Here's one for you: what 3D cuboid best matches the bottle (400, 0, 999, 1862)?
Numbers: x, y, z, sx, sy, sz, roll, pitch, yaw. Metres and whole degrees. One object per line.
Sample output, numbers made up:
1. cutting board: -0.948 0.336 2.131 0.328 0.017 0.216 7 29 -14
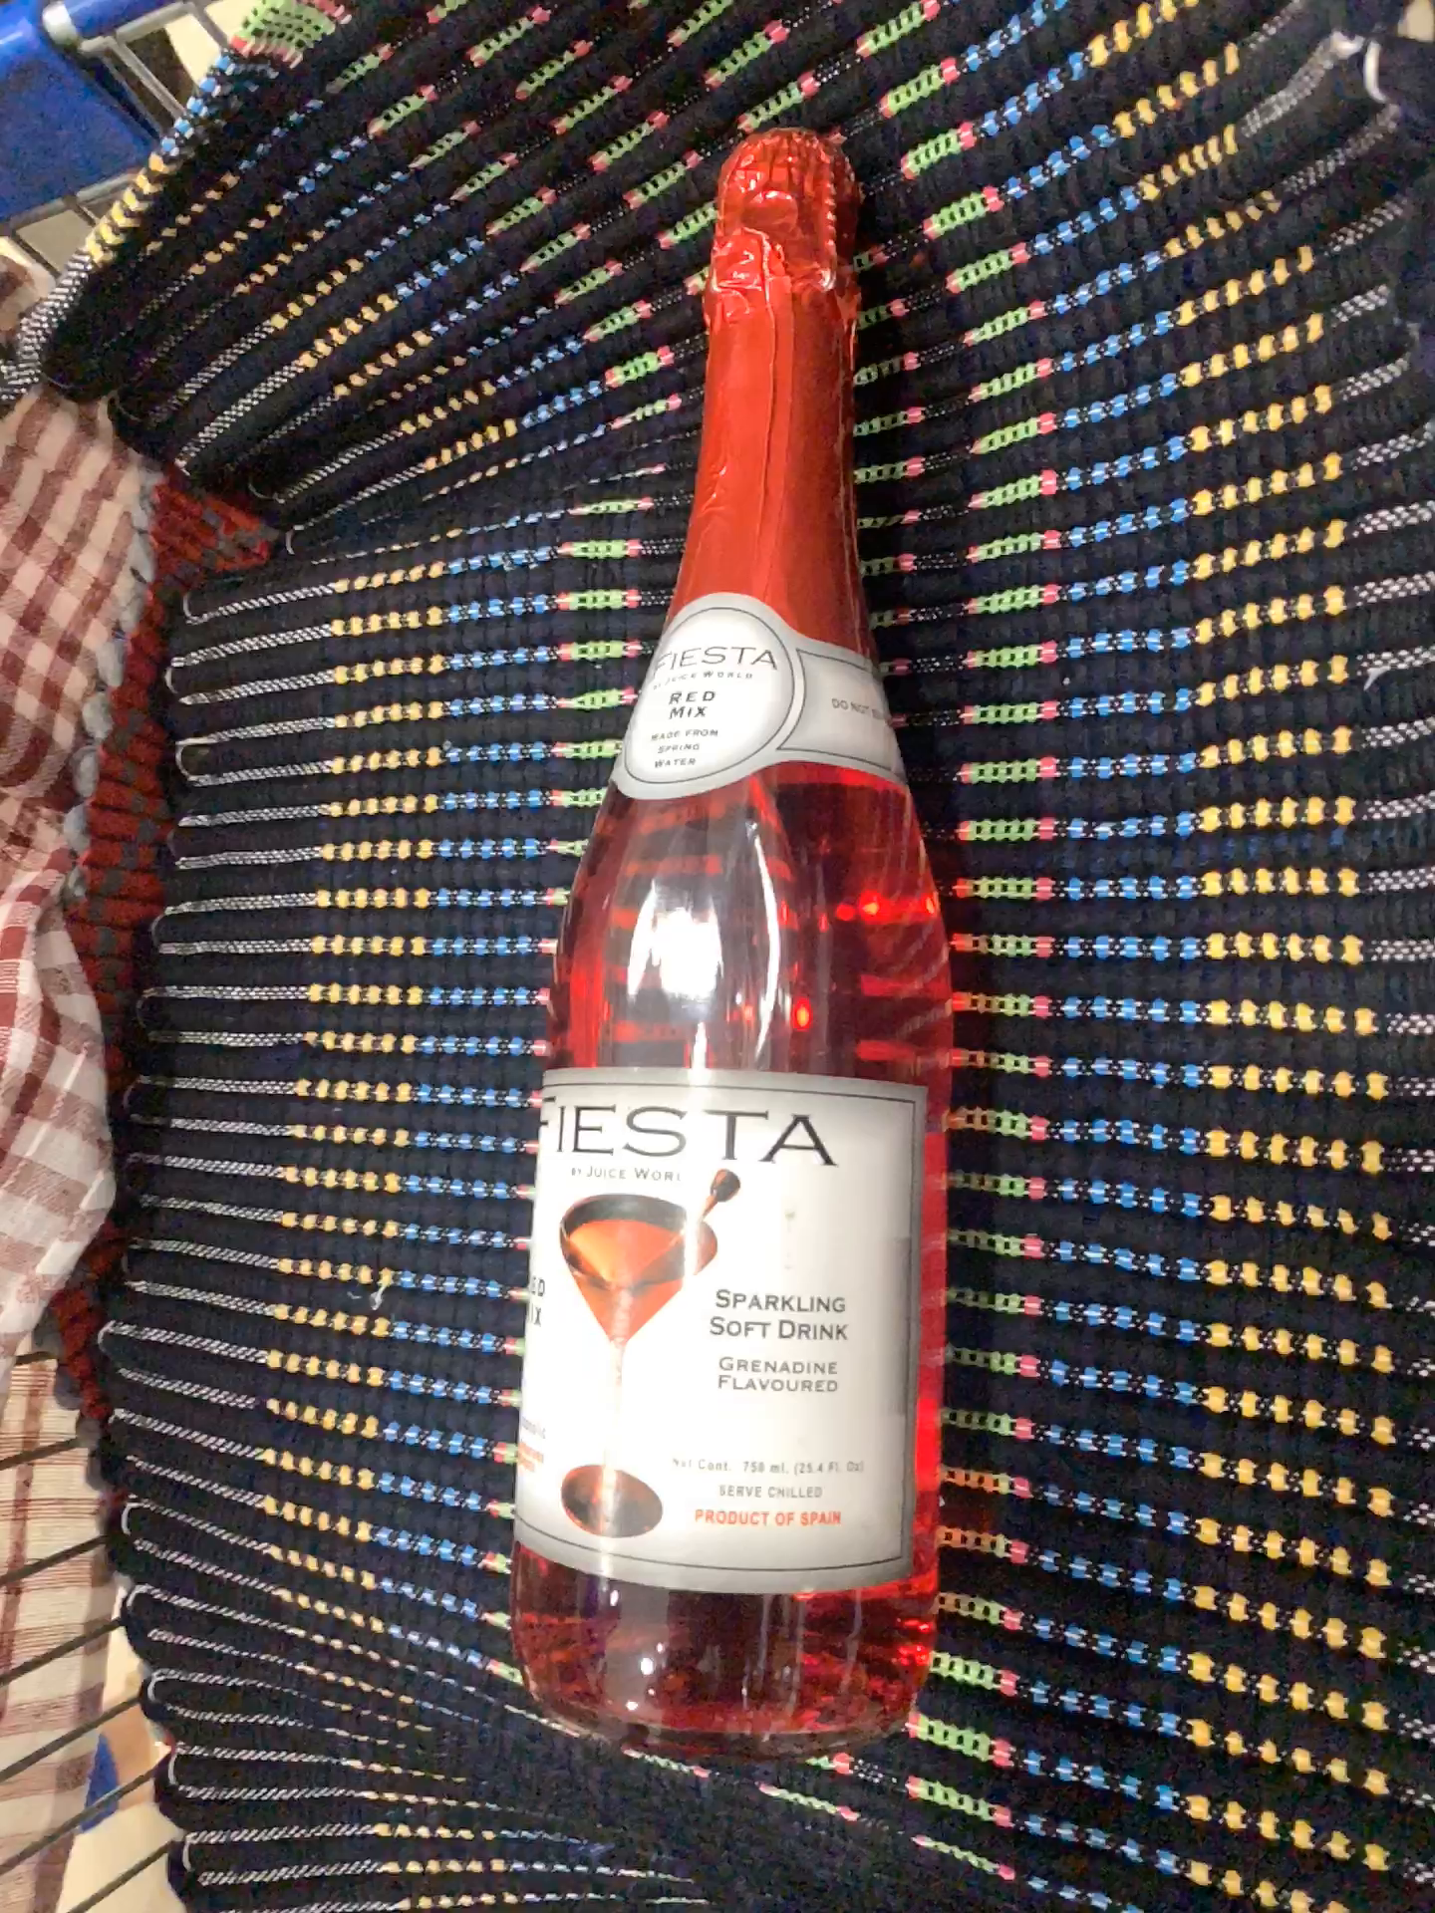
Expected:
1. bottle: 0.003 -0.014 0.289 0.080 0.070 0.310 -4 78 33
